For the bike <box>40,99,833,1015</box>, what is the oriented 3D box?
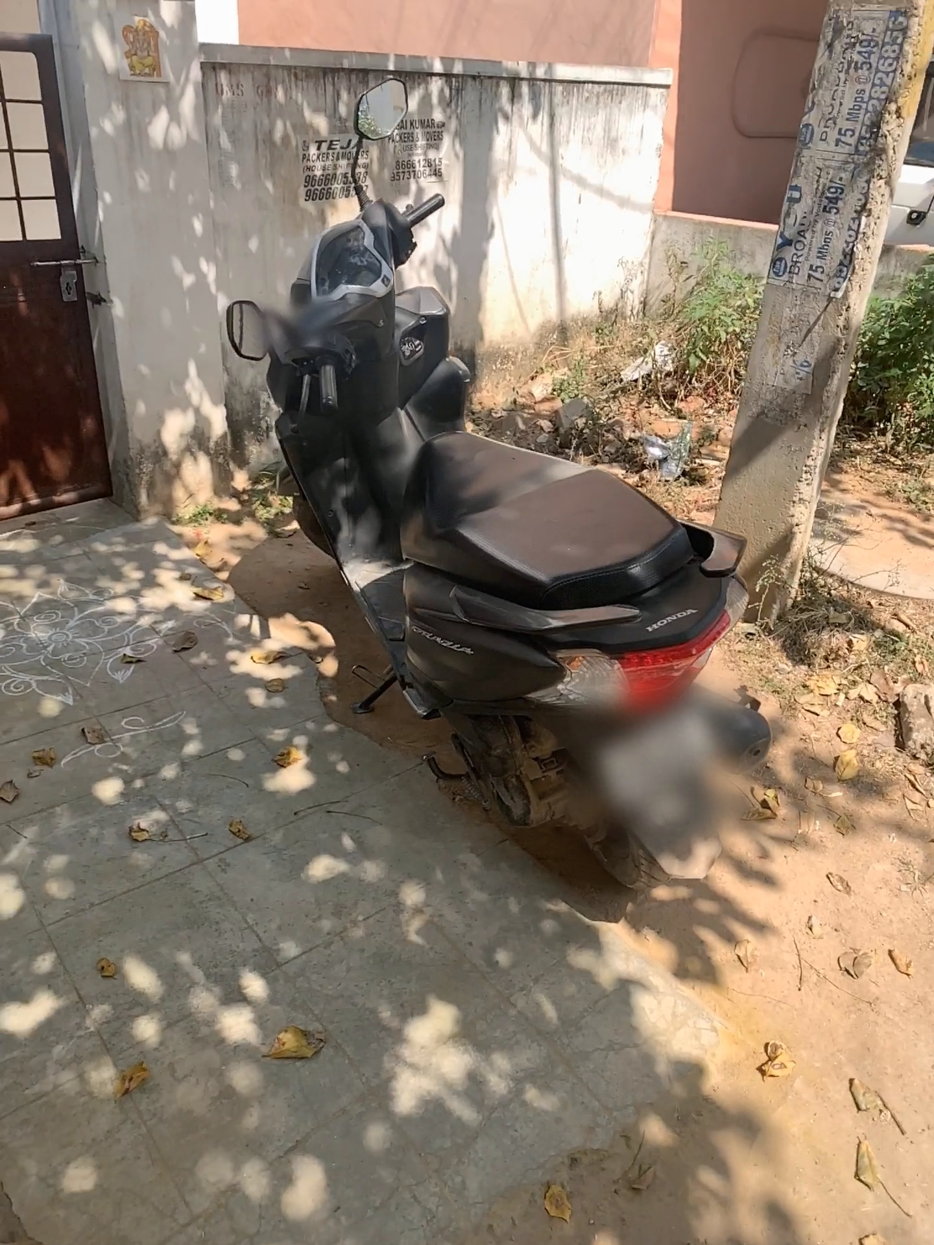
[{"bbox_3d":[-0.229,-0.287,1.952,0.607,1.176,1.513,-16,37,-31],"label":"bike"}]
